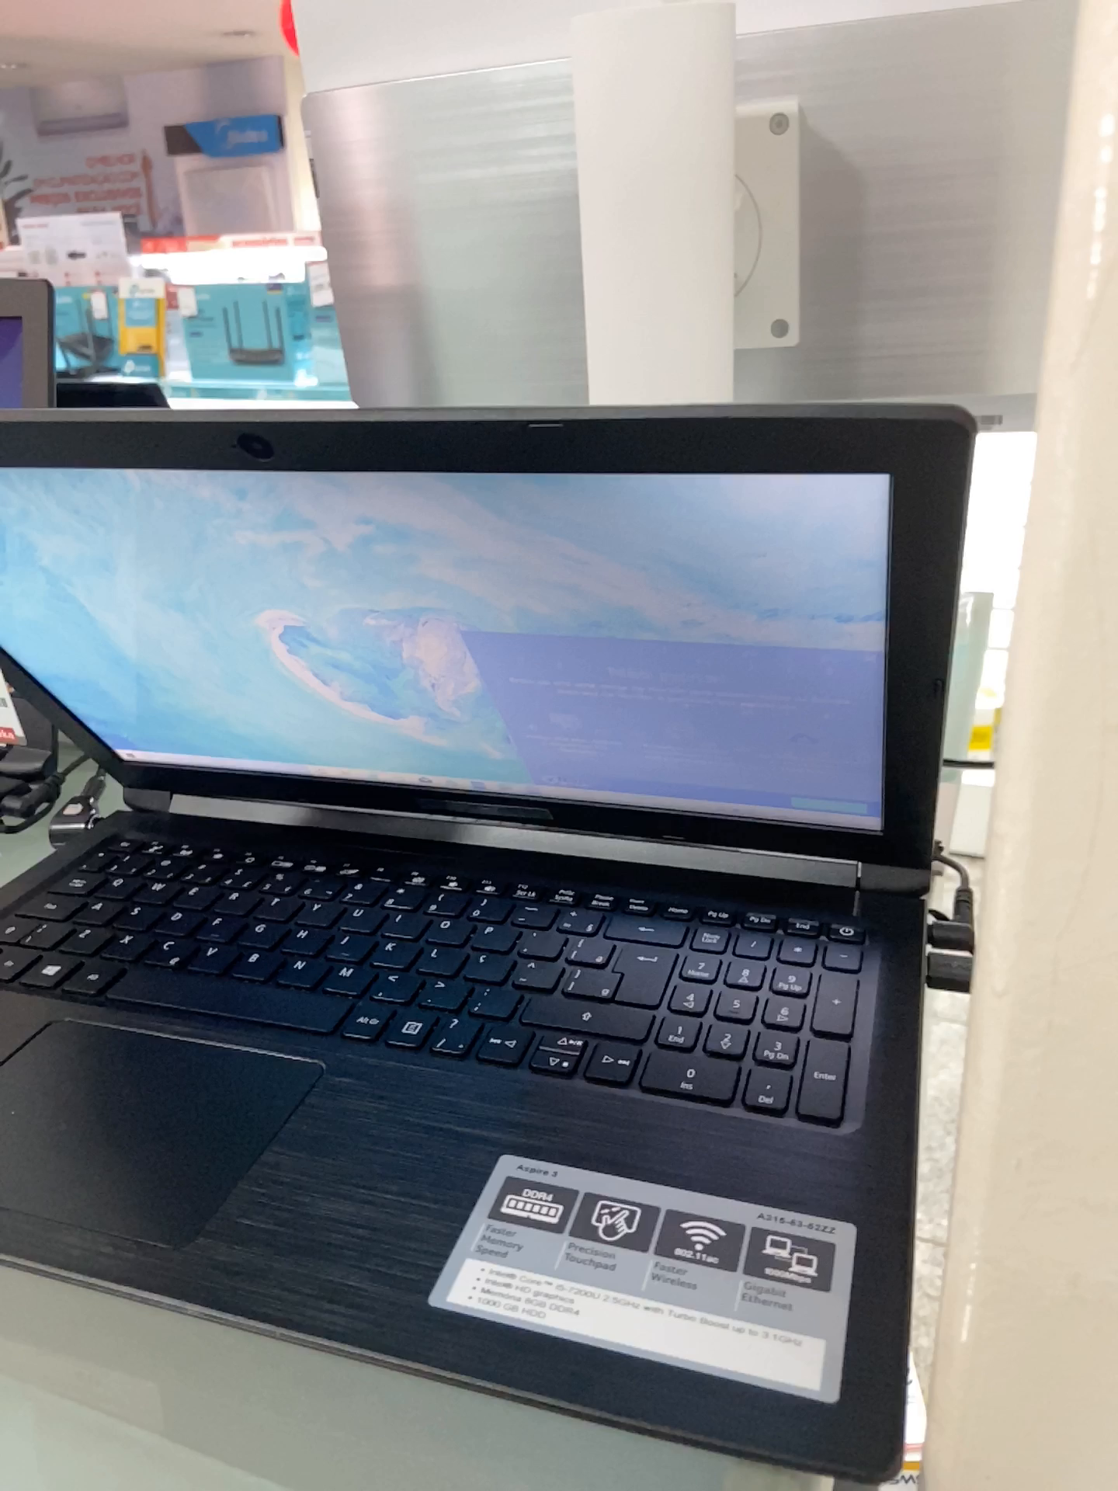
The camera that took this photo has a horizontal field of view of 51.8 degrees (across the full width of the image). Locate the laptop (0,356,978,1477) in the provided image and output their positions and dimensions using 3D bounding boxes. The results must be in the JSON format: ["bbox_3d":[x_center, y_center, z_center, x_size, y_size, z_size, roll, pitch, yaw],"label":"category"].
[{"bbox_3d":[-0.075,0.001,0.358,0.367,0.193,0.235,3,23,18],"label":"laptop"}]
